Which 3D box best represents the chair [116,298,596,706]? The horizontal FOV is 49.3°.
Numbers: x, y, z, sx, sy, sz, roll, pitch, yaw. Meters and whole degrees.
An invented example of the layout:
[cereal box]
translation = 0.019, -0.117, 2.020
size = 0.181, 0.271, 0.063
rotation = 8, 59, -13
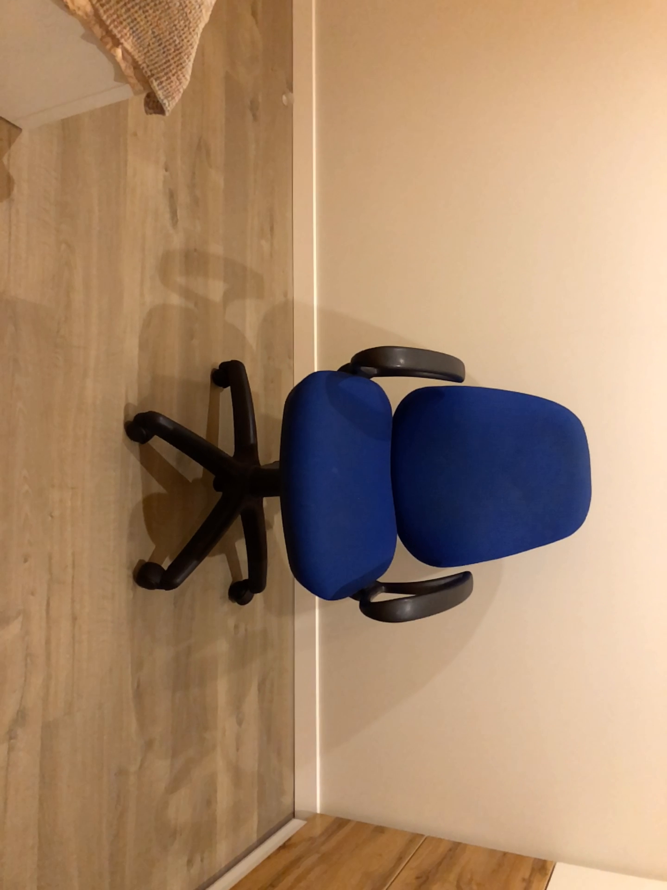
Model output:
[chair]
translation = 0.097, 0.100, 1.747
size = 0.704, 0.905, 0.696
rotation = -6, 93, -64
